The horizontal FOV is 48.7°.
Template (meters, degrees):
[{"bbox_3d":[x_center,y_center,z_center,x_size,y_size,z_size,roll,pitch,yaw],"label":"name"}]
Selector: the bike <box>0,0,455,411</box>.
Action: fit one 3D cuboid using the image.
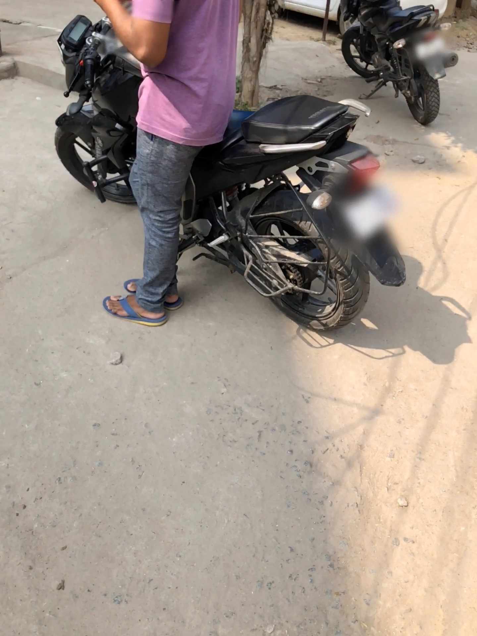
[{"bbox_3d":[-0.344,-0.619,1.881,1.686,0.959,0.687,31,44,27],"label":"bike"}]
